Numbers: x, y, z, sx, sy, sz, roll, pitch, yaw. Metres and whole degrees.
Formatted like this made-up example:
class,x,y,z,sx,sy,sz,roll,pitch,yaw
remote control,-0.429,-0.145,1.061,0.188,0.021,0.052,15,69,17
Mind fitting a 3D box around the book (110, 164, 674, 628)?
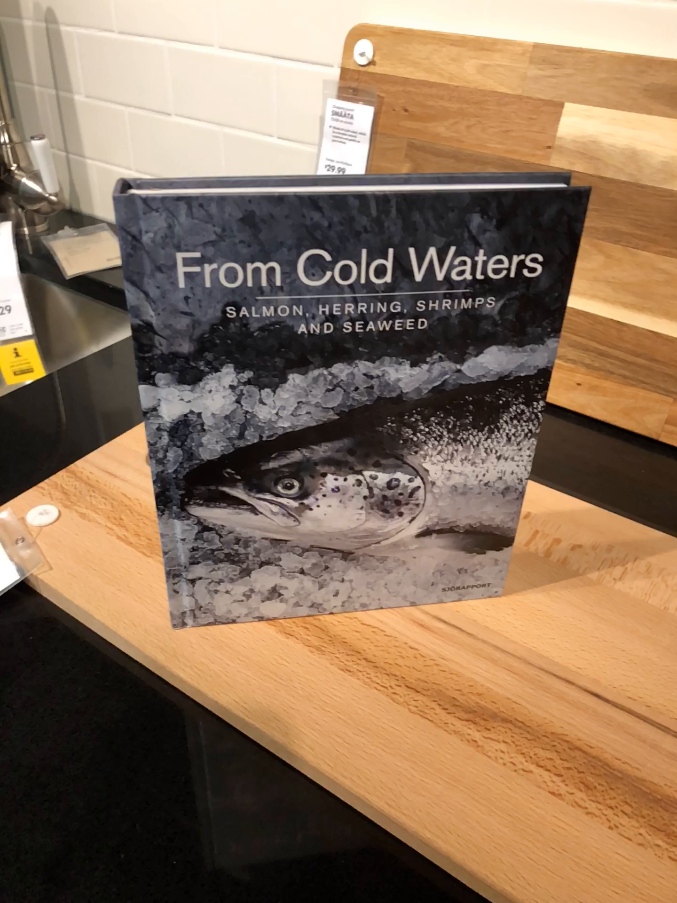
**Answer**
class,x,y,z,sx,sy,sz,roll,pitch,yaw
book,0.020,-0.015,0.350,0.213,0.219,0.029,-4,34,-8
